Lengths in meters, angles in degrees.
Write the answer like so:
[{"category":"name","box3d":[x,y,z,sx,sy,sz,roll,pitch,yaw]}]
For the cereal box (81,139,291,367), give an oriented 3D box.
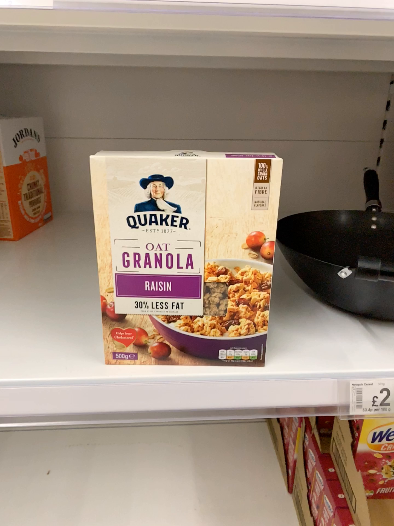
[{"category":"cereal box","box3d":[-0.012,-0.006,0.460,0.200,0.248,0.060,1,21,-1]}]
